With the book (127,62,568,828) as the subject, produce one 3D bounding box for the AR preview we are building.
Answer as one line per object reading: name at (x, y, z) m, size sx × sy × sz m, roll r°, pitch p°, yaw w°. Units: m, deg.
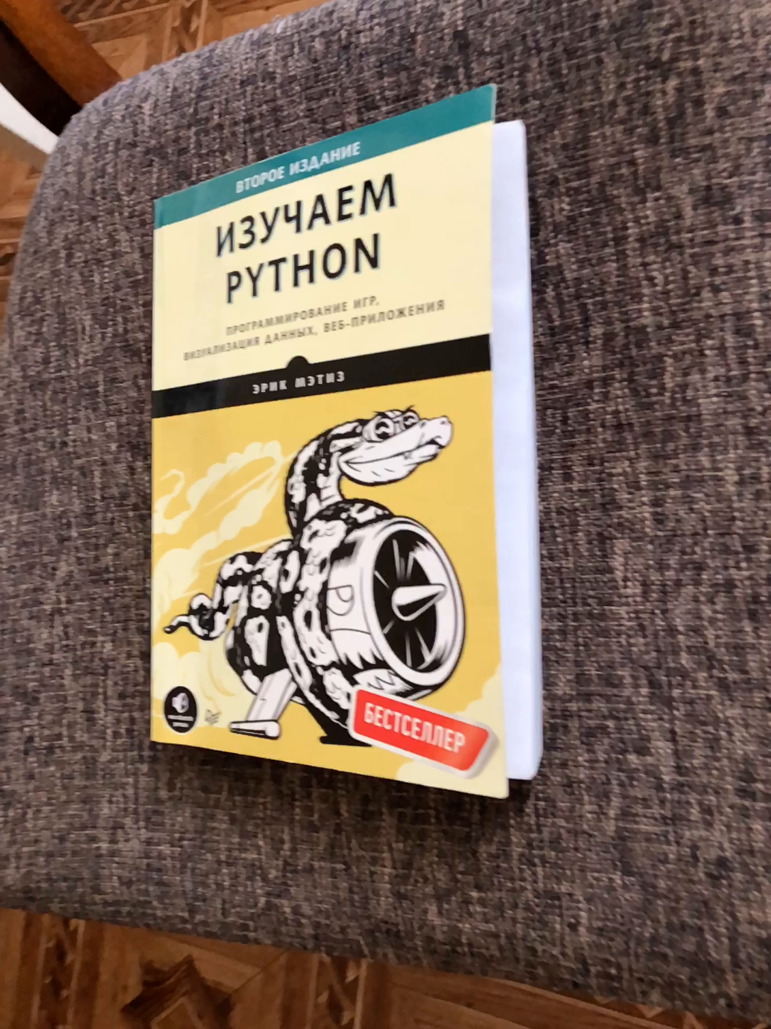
book at (-0.019, -0.022, 0.317) m, size 0.168 × 0.040 × 0.233 m, roll -2°, pitch 84°, yaw 33°
